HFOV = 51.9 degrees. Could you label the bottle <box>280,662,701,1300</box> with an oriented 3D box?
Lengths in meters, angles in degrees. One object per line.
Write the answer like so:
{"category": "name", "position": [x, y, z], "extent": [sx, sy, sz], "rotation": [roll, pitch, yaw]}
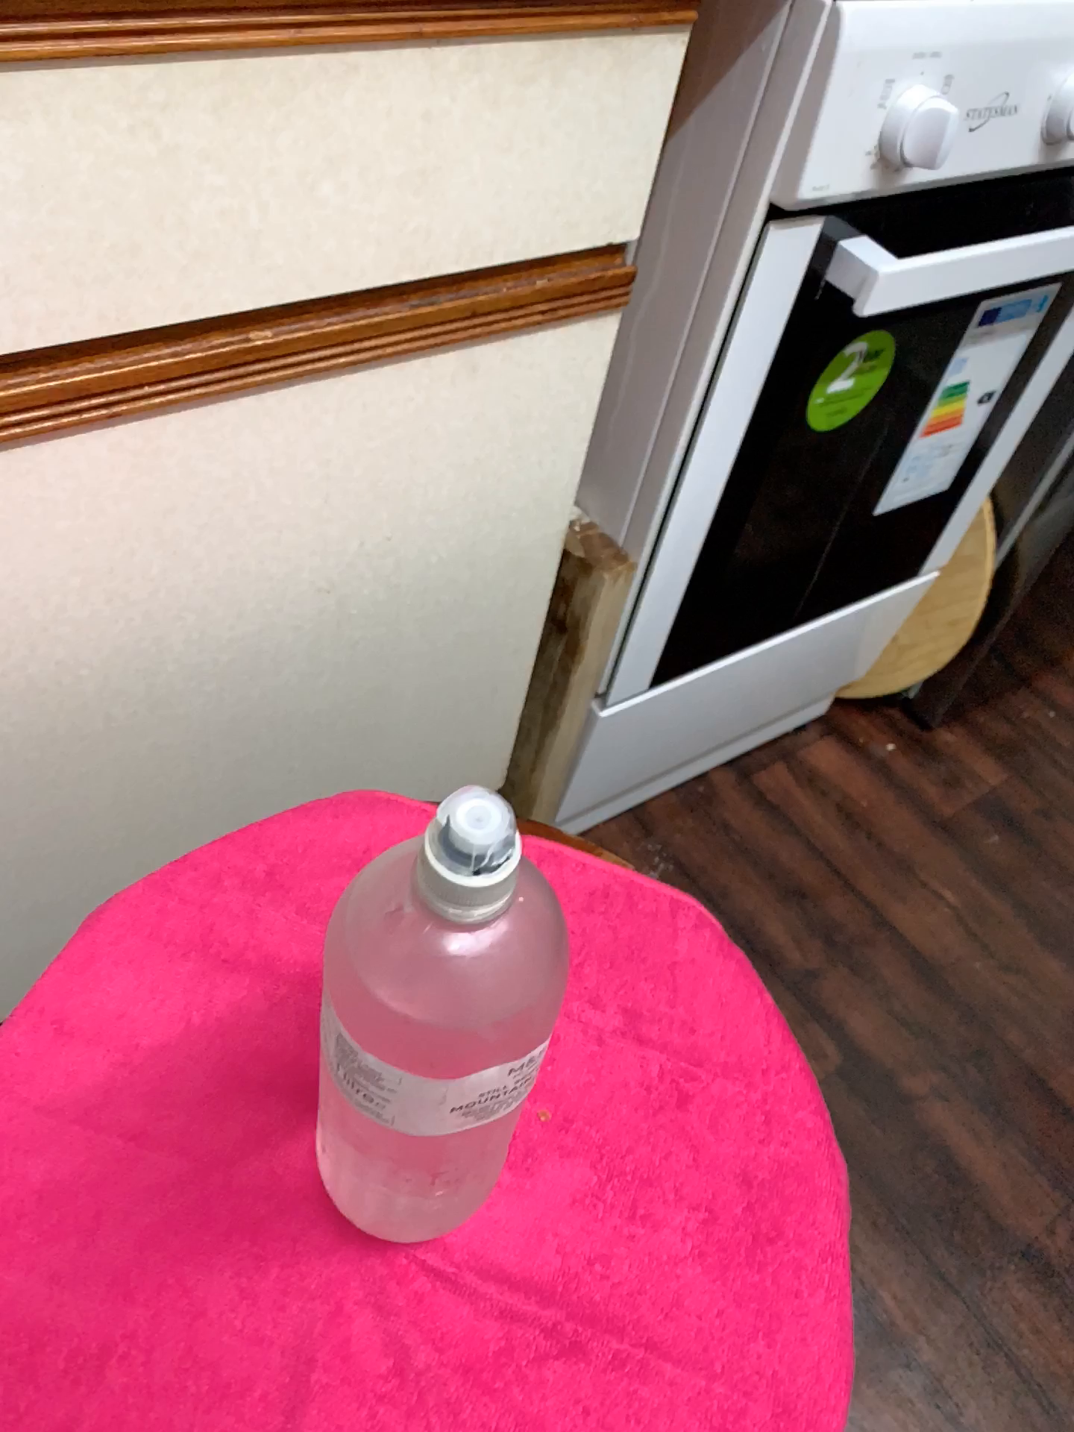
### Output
{"category": "bottle", "position": [-0.032, 0.113, 0.406], "extent": [0.080, 0.258, 0.091], "rotation": [36, 51, 18]}
